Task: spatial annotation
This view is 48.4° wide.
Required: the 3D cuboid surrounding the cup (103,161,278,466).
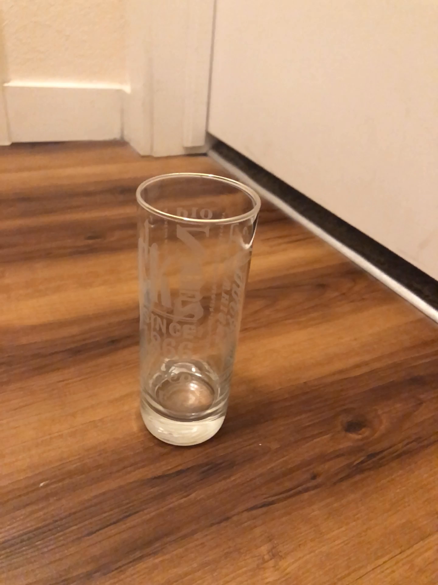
[{"bbox_3d":[-0.017,0.014,0.279,0.068,0.150,0.067,4,32,-3],"label":"cup"}]
